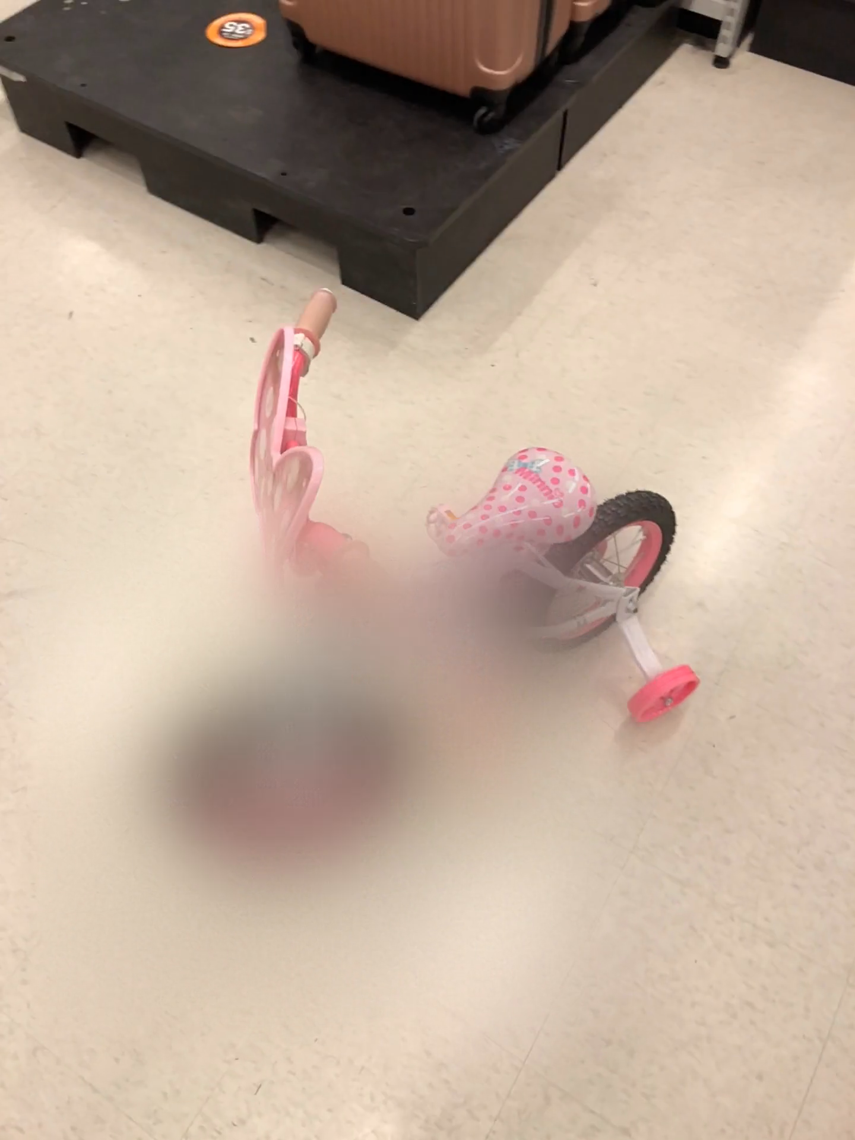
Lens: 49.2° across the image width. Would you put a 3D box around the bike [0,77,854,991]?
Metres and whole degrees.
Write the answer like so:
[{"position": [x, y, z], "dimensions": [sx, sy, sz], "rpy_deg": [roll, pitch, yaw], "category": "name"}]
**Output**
[{"position": [0.020, -0.014, 1.107], "dimensions": [0.774, 0.681, 0.511], "rpy_deg": [-28, 61, -16], "category": "bike"}]
